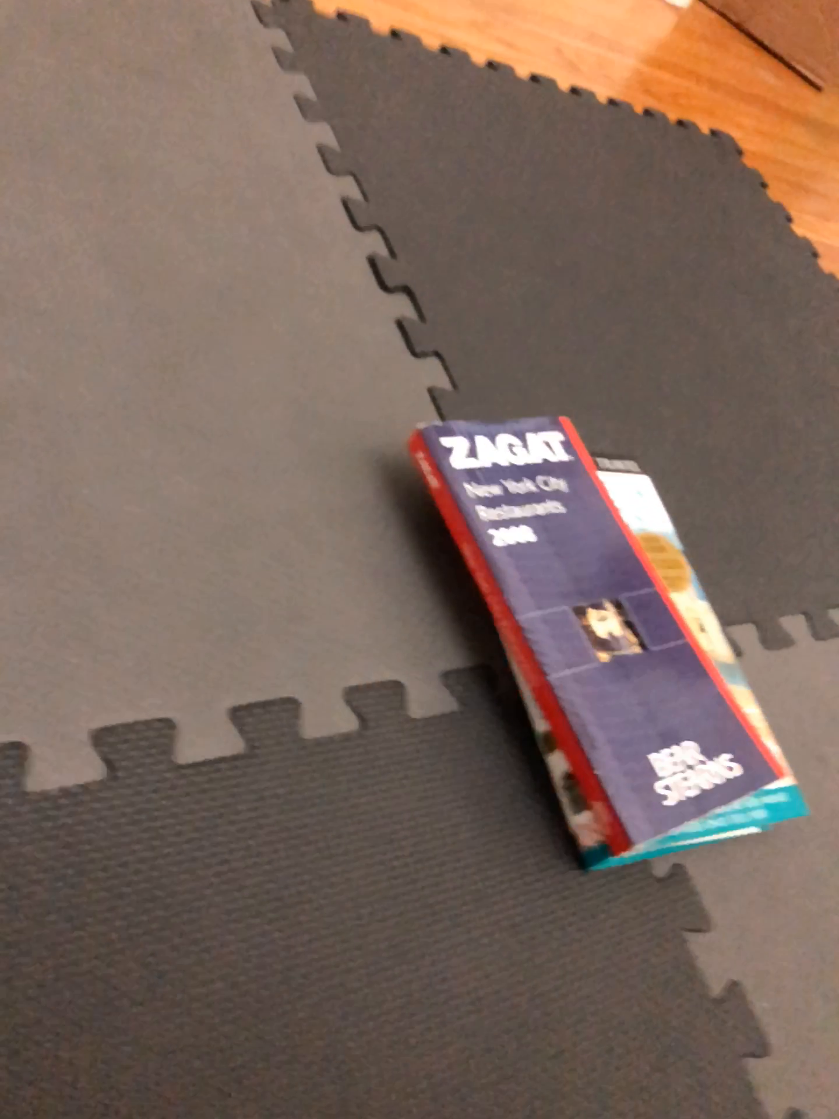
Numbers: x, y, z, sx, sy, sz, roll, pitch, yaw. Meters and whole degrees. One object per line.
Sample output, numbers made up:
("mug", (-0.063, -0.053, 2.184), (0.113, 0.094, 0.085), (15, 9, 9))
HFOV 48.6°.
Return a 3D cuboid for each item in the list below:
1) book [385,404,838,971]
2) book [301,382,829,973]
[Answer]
("book", (0.102, 0.039, 0.457), (0.170, 0.030, 0.261), (-3, 59, -35))
("book", (0.064, 0.027, 0.416), (0.150, 0.020, 0.251), (-12, 65, -39))
